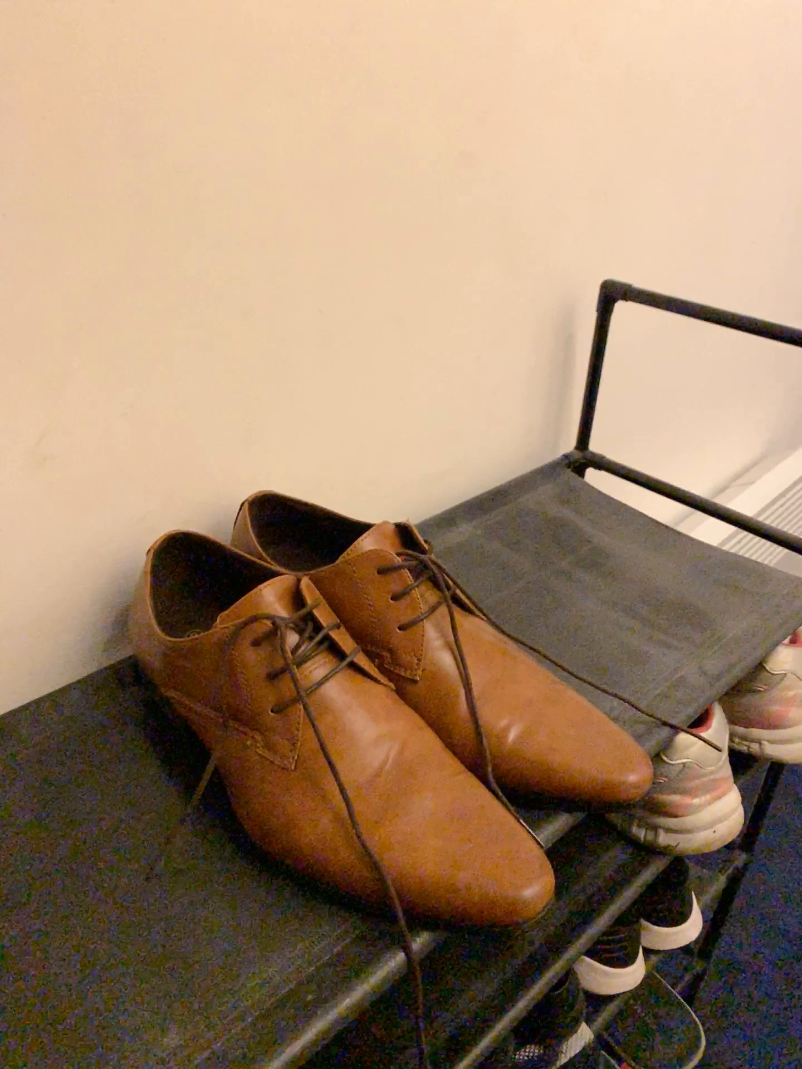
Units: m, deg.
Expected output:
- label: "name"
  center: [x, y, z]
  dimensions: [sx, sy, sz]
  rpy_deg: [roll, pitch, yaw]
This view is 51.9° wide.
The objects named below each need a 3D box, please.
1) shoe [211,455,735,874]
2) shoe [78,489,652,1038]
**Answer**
- label: "shoe"
  center: [0.026, 0.054, 0.489]
  dimensions: [0.291, 0.099, 0.101]
  rpy_deg: [23, 37, 33]
- label: "shoe"
  center: [-0.033, 0.084, 0.409]
  dimensions: [0.271, 0.099, 0.111]
  rpy_deg: [26, 38, 36]
